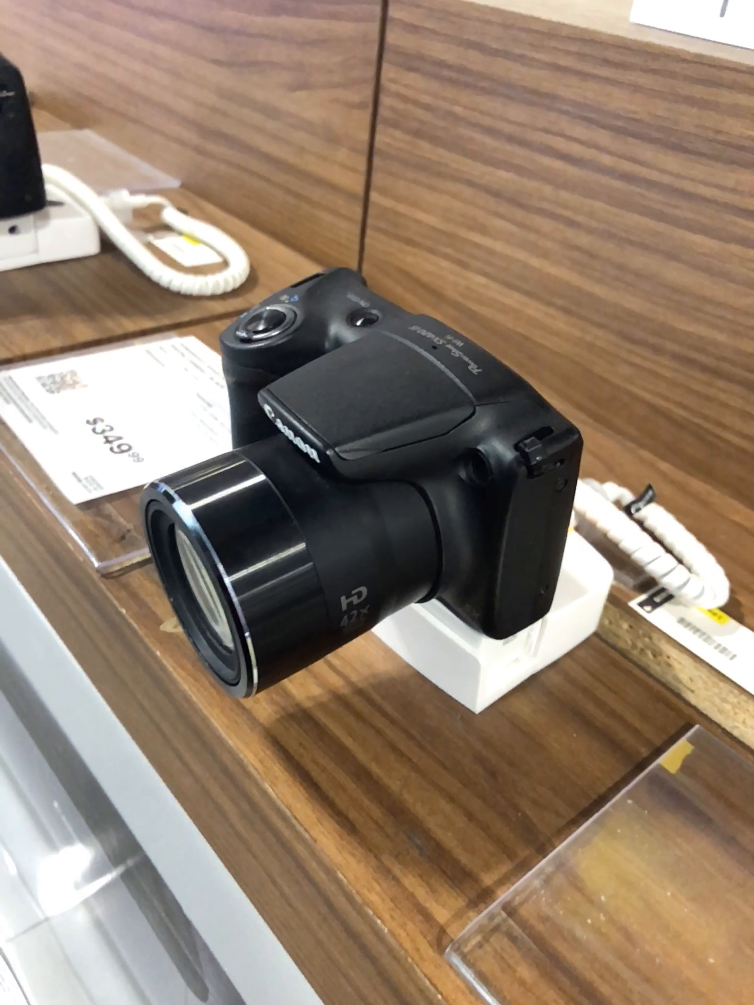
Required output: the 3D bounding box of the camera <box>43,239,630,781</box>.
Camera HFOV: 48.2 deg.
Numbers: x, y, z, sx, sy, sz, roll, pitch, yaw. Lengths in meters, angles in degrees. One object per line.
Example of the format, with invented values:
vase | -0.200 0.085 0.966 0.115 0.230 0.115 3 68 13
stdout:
camera | -0.015 -0.010 0.208 0.090 0.070 0.100 -20 44 -35
